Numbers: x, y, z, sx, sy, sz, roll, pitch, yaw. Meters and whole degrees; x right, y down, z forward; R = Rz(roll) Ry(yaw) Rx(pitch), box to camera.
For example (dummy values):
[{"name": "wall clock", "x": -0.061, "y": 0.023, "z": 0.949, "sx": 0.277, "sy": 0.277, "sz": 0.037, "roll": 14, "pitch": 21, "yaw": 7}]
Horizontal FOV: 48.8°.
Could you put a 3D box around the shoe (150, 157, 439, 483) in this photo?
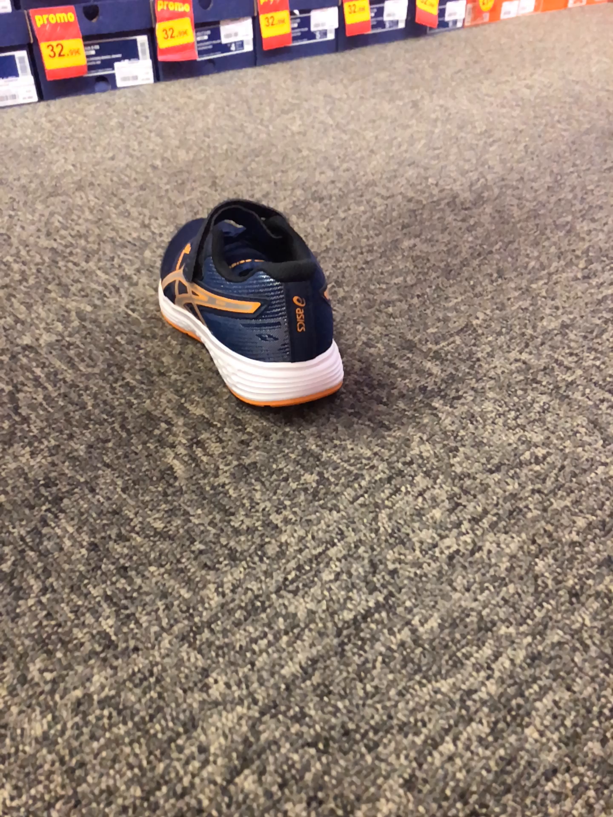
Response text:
[{"name": "shoe", "x": -0.022, "y": -0.075, "z": 0.440, "sx": 0.090, "sy": 0.099, "sz": 0.236, "roll": -15, "pitch": 39, "yaw": -19}]
